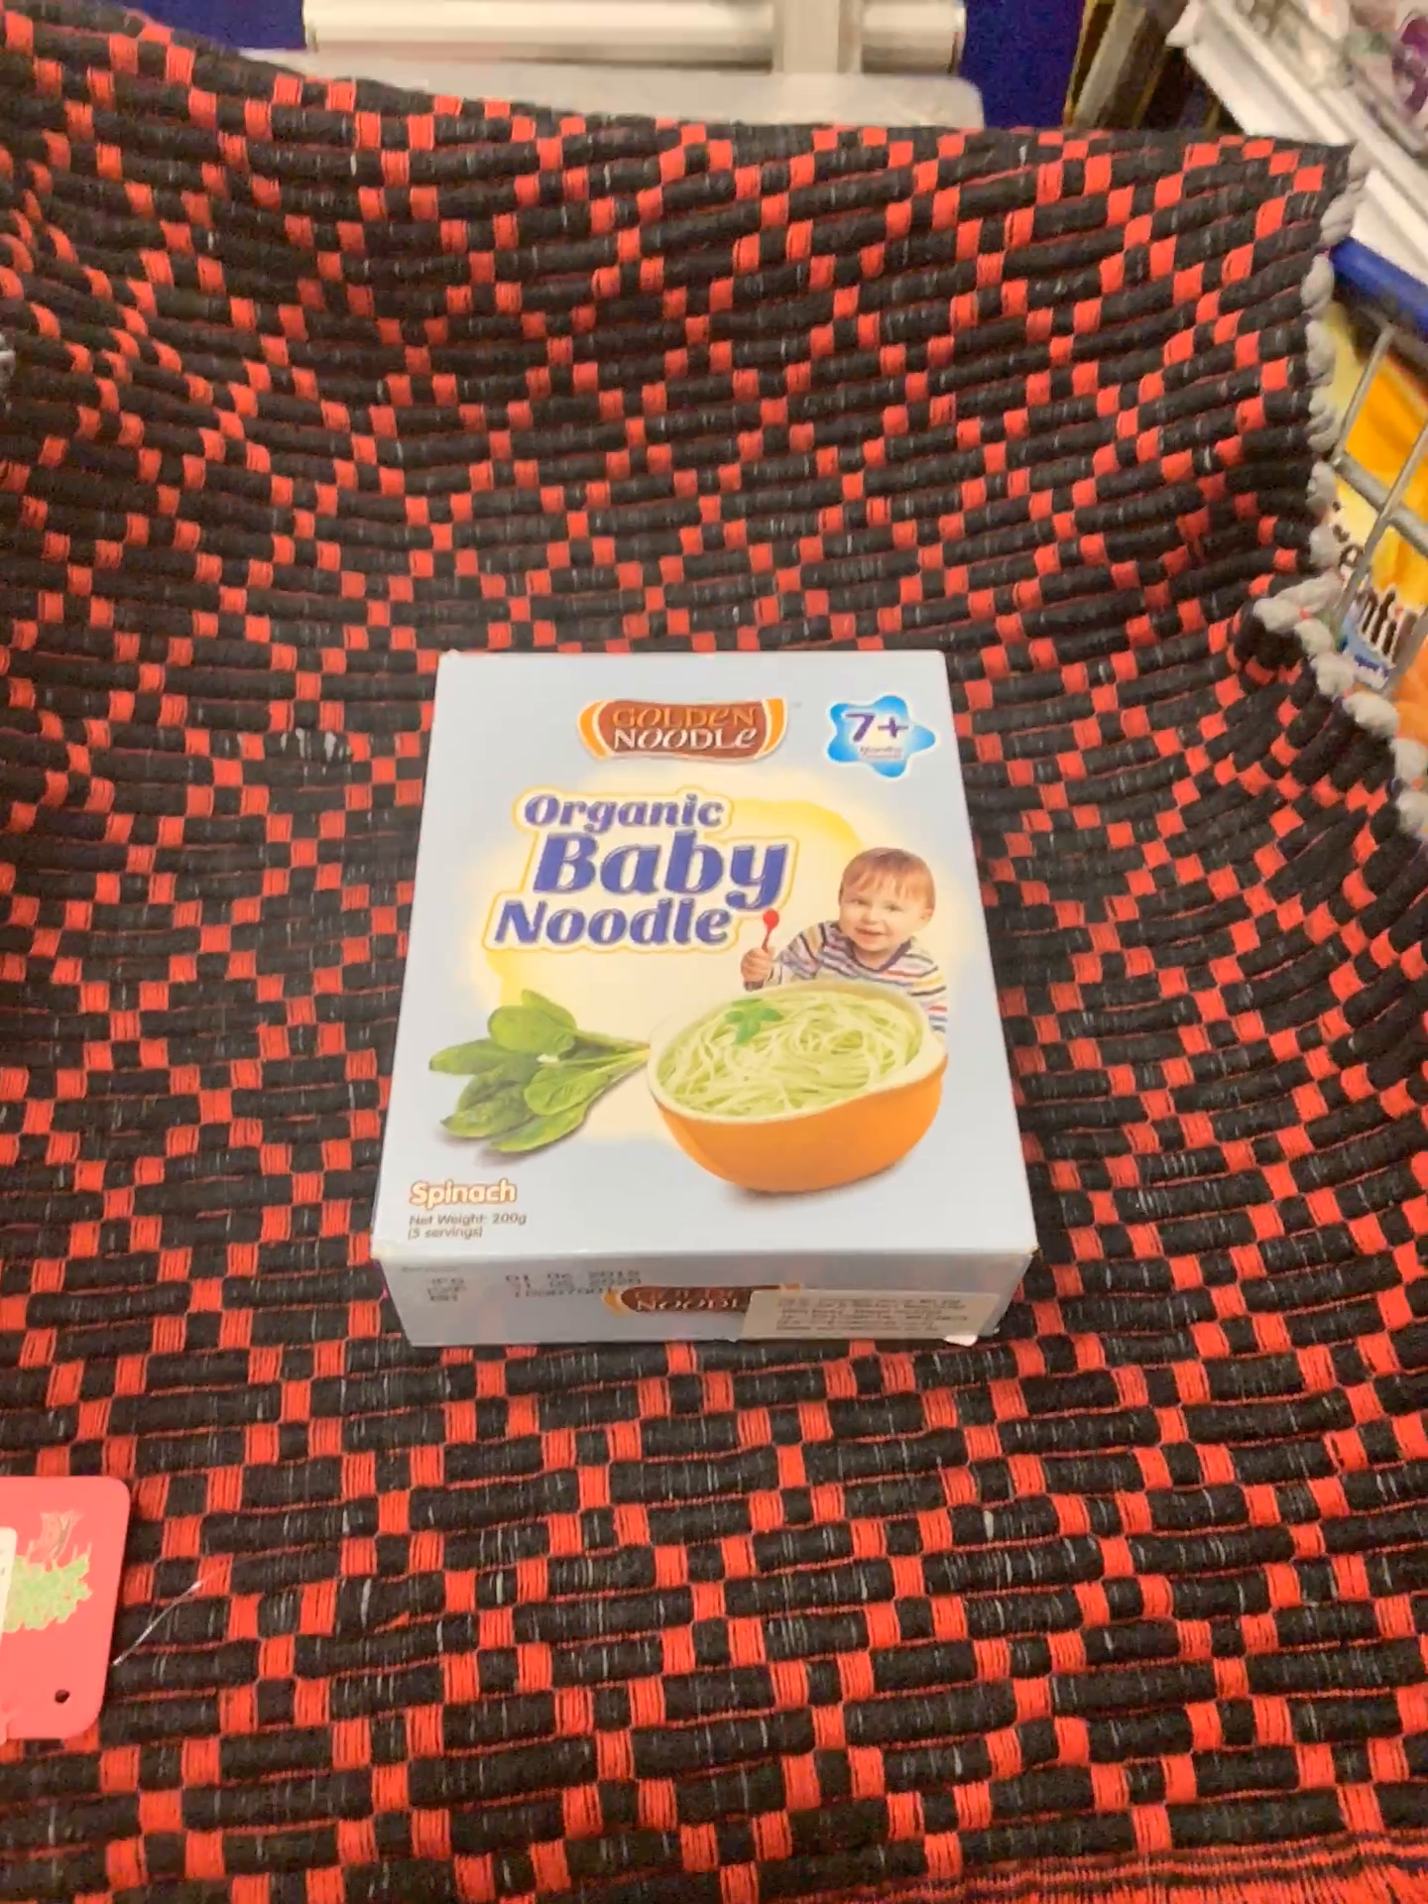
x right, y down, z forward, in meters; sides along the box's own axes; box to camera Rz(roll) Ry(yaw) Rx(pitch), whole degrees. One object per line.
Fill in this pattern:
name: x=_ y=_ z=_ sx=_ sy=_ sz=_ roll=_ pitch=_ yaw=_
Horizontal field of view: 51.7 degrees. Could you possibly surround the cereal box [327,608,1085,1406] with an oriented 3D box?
cereal box: x=-0.004 y=0.004 z=0.320 sx=0.130 sy=0.050 sz=0.170 roll=0 pitch=57 yaw=-3
